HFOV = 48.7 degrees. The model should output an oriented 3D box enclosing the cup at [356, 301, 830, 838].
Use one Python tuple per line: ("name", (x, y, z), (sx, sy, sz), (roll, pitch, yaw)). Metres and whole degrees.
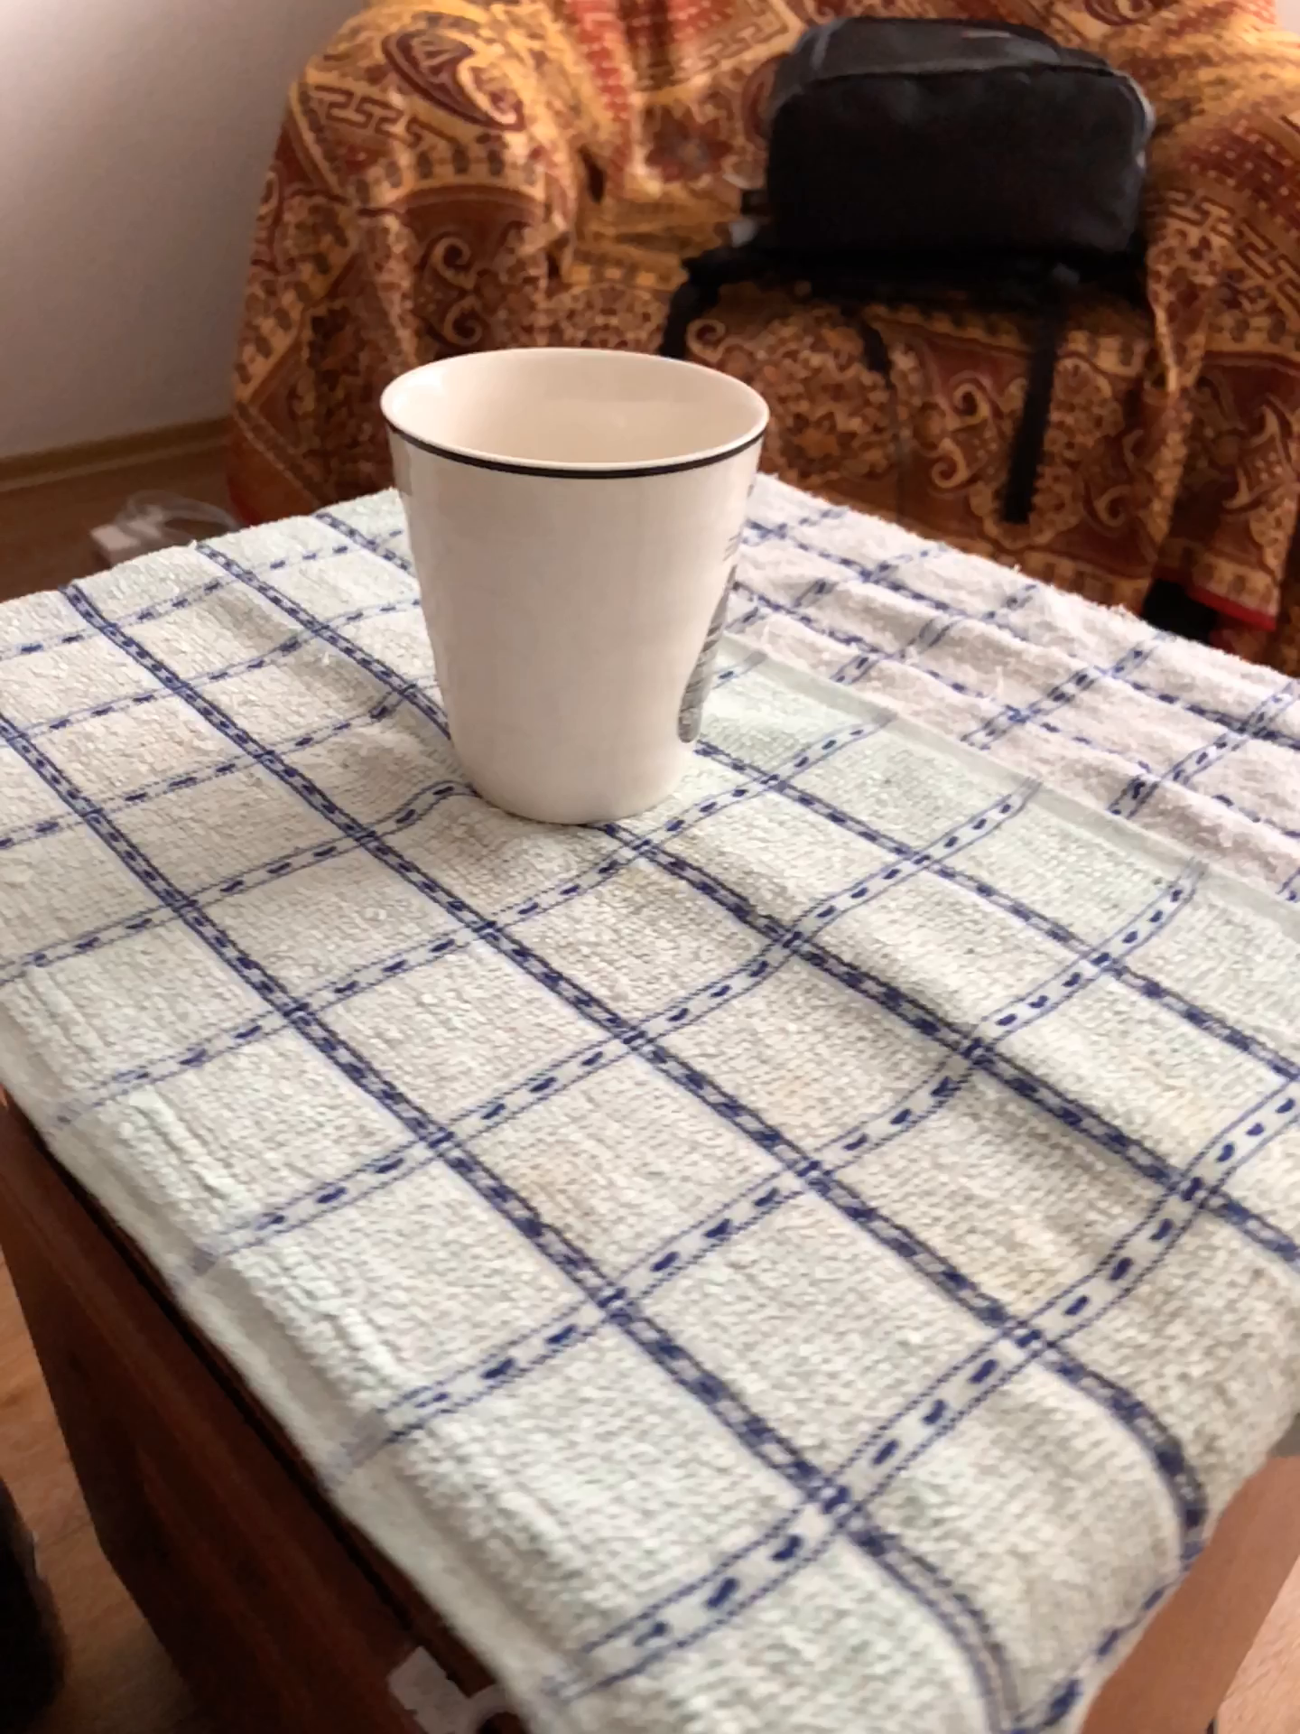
("cup", (-0.022, -0.084, 0.374), (0.090, 0.090, 0.124), (-6, 36, -13))
